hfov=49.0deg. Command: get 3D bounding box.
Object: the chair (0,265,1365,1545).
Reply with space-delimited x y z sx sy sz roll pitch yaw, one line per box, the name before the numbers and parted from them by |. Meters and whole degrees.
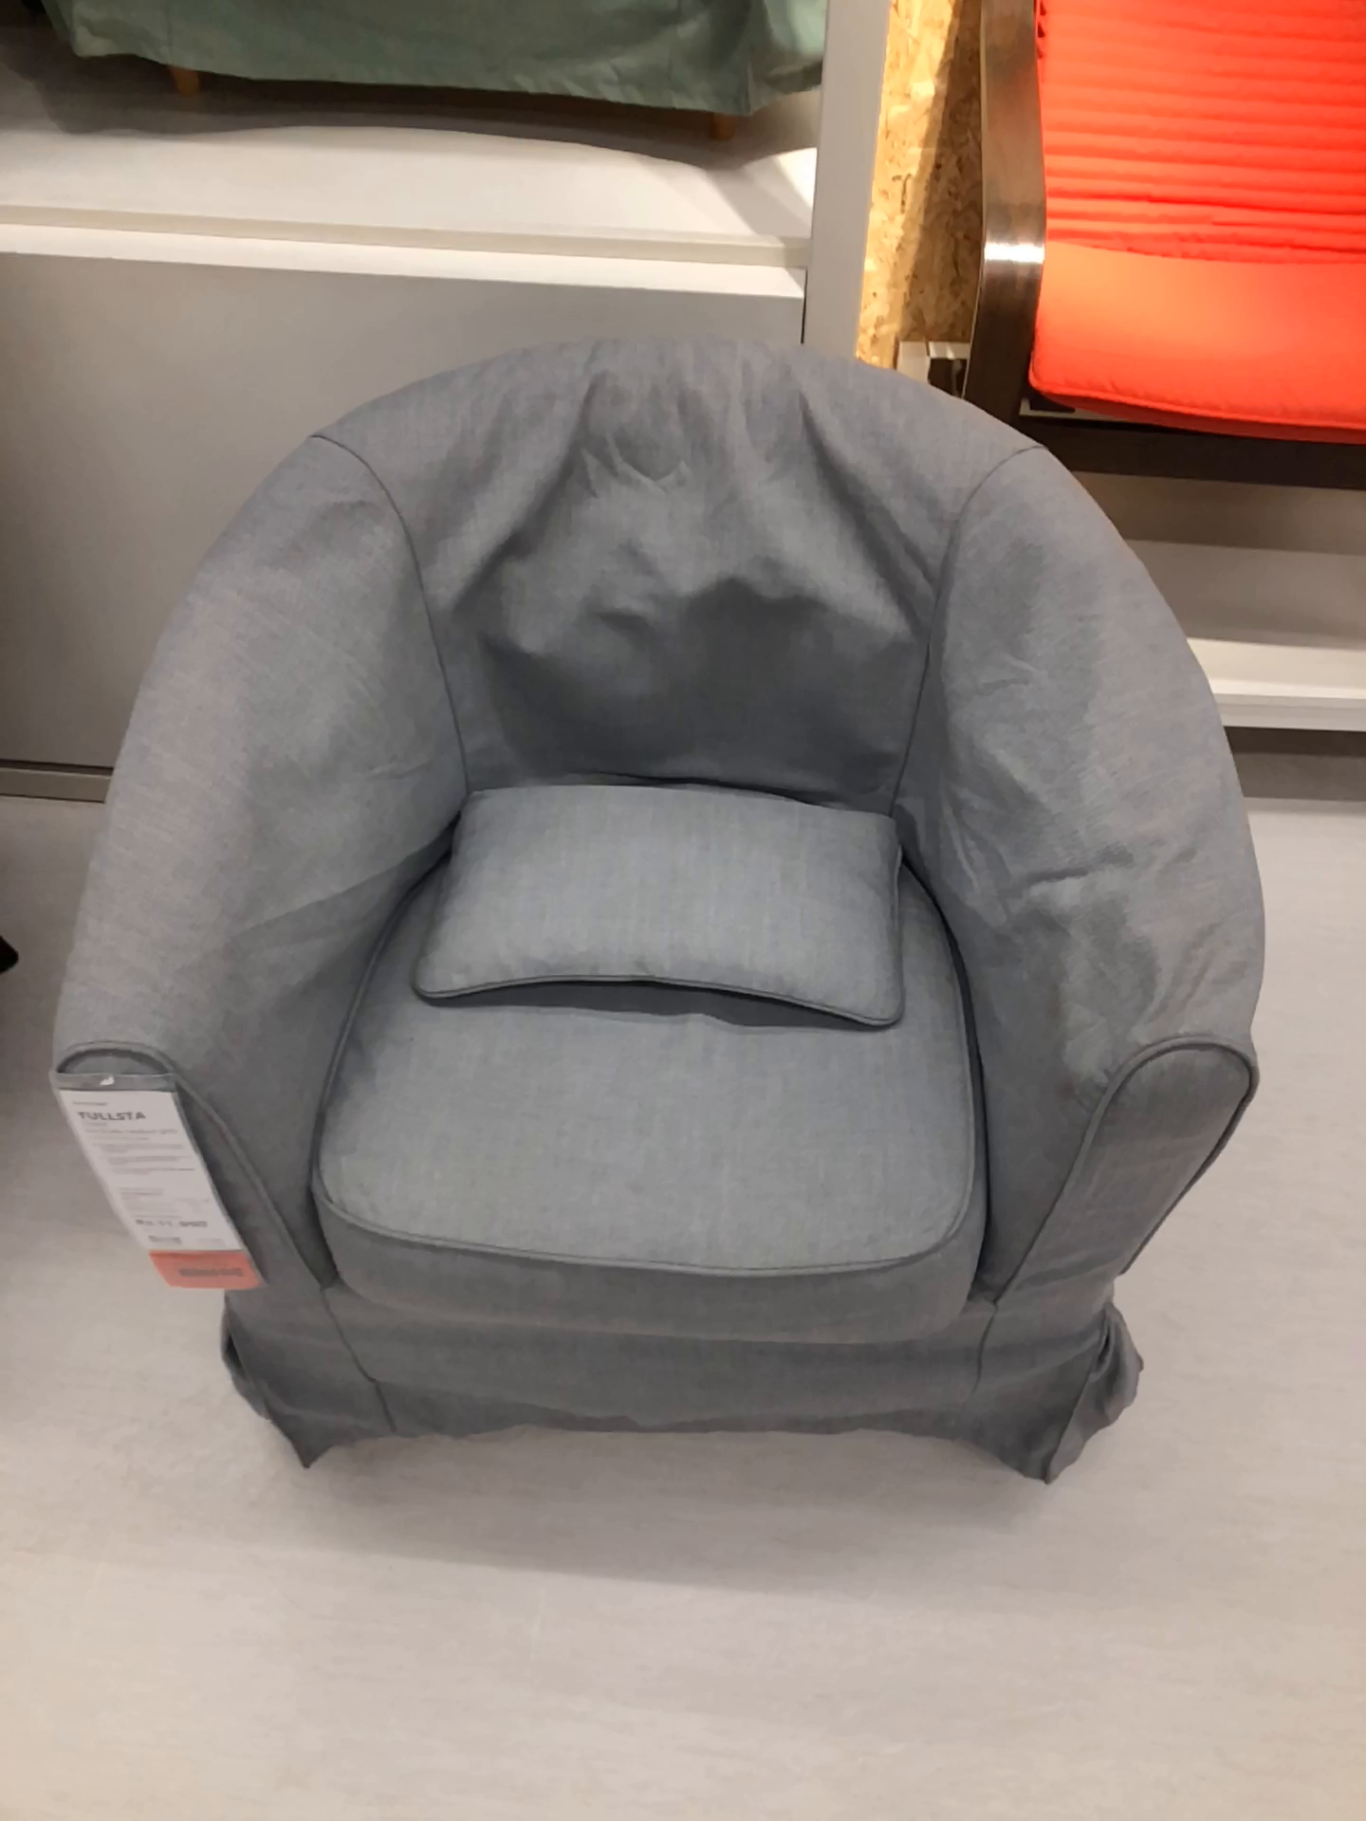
chair | 0.006 0.020 1.275 0.870 0.795 0.725 2 49 1
